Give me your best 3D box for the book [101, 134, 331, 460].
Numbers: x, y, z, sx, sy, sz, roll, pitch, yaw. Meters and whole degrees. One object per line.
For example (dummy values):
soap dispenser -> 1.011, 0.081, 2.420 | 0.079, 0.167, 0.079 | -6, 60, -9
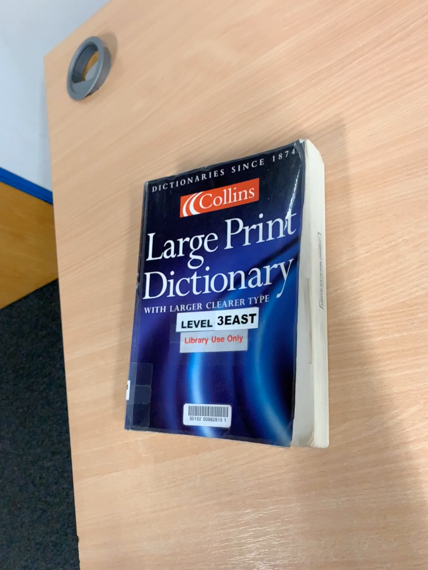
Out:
book -> -0.001, 0.012, 0.388 | 0.188, 0.050, 0.243 | -6, 73, 31
